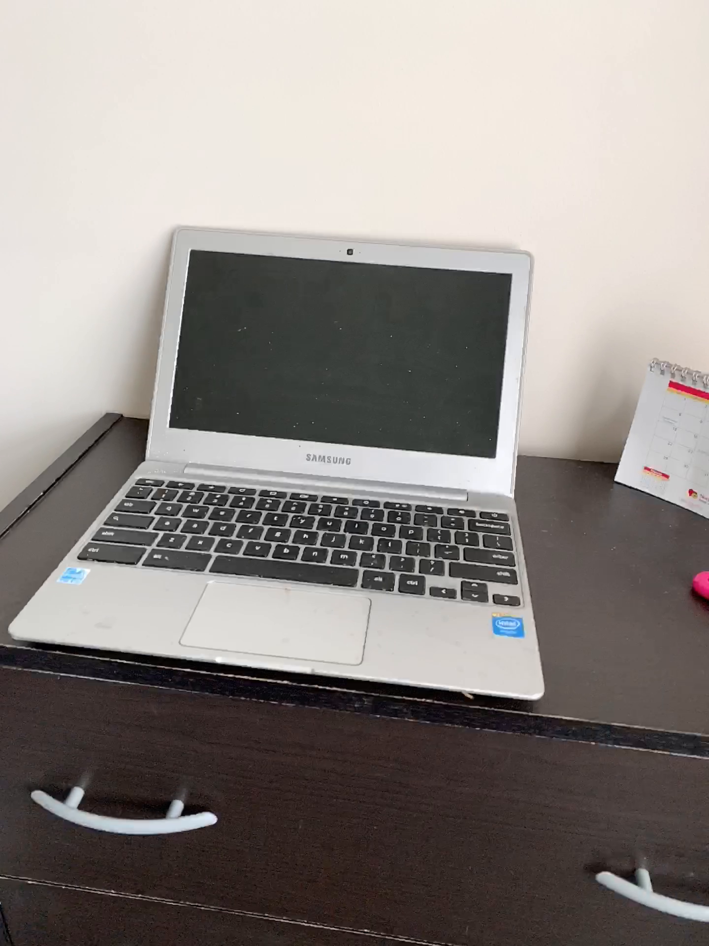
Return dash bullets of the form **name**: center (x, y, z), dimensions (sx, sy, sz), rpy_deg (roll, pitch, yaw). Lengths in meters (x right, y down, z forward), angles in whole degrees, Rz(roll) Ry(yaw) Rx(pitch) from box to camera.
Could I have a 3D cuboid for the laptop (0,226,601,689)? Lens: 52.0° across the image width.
- **laptop**: center (-0.027, -0.046, 0.483), dimensions (0.291, 0.153, 0.319), rpy_deg (5, 29, 4)
